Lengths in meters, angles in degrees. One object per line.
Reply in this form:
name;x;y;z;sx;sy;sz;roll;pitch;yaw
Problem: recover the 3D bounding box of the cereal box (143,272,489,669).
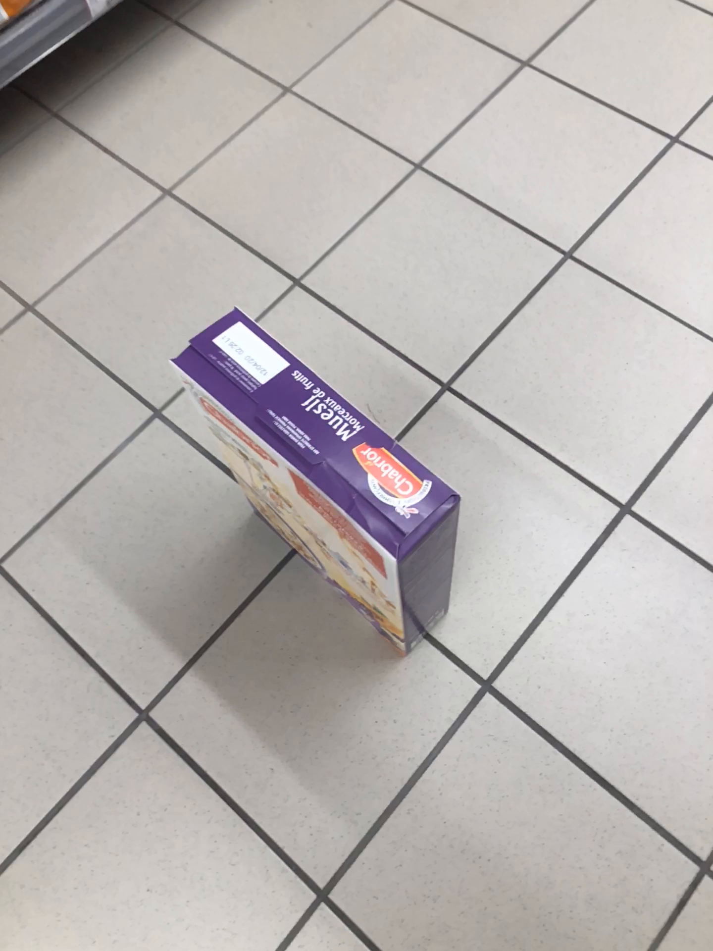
cereal box;-0.020;0.015;0.561;0.210;0.259;0.070;41;74;20
